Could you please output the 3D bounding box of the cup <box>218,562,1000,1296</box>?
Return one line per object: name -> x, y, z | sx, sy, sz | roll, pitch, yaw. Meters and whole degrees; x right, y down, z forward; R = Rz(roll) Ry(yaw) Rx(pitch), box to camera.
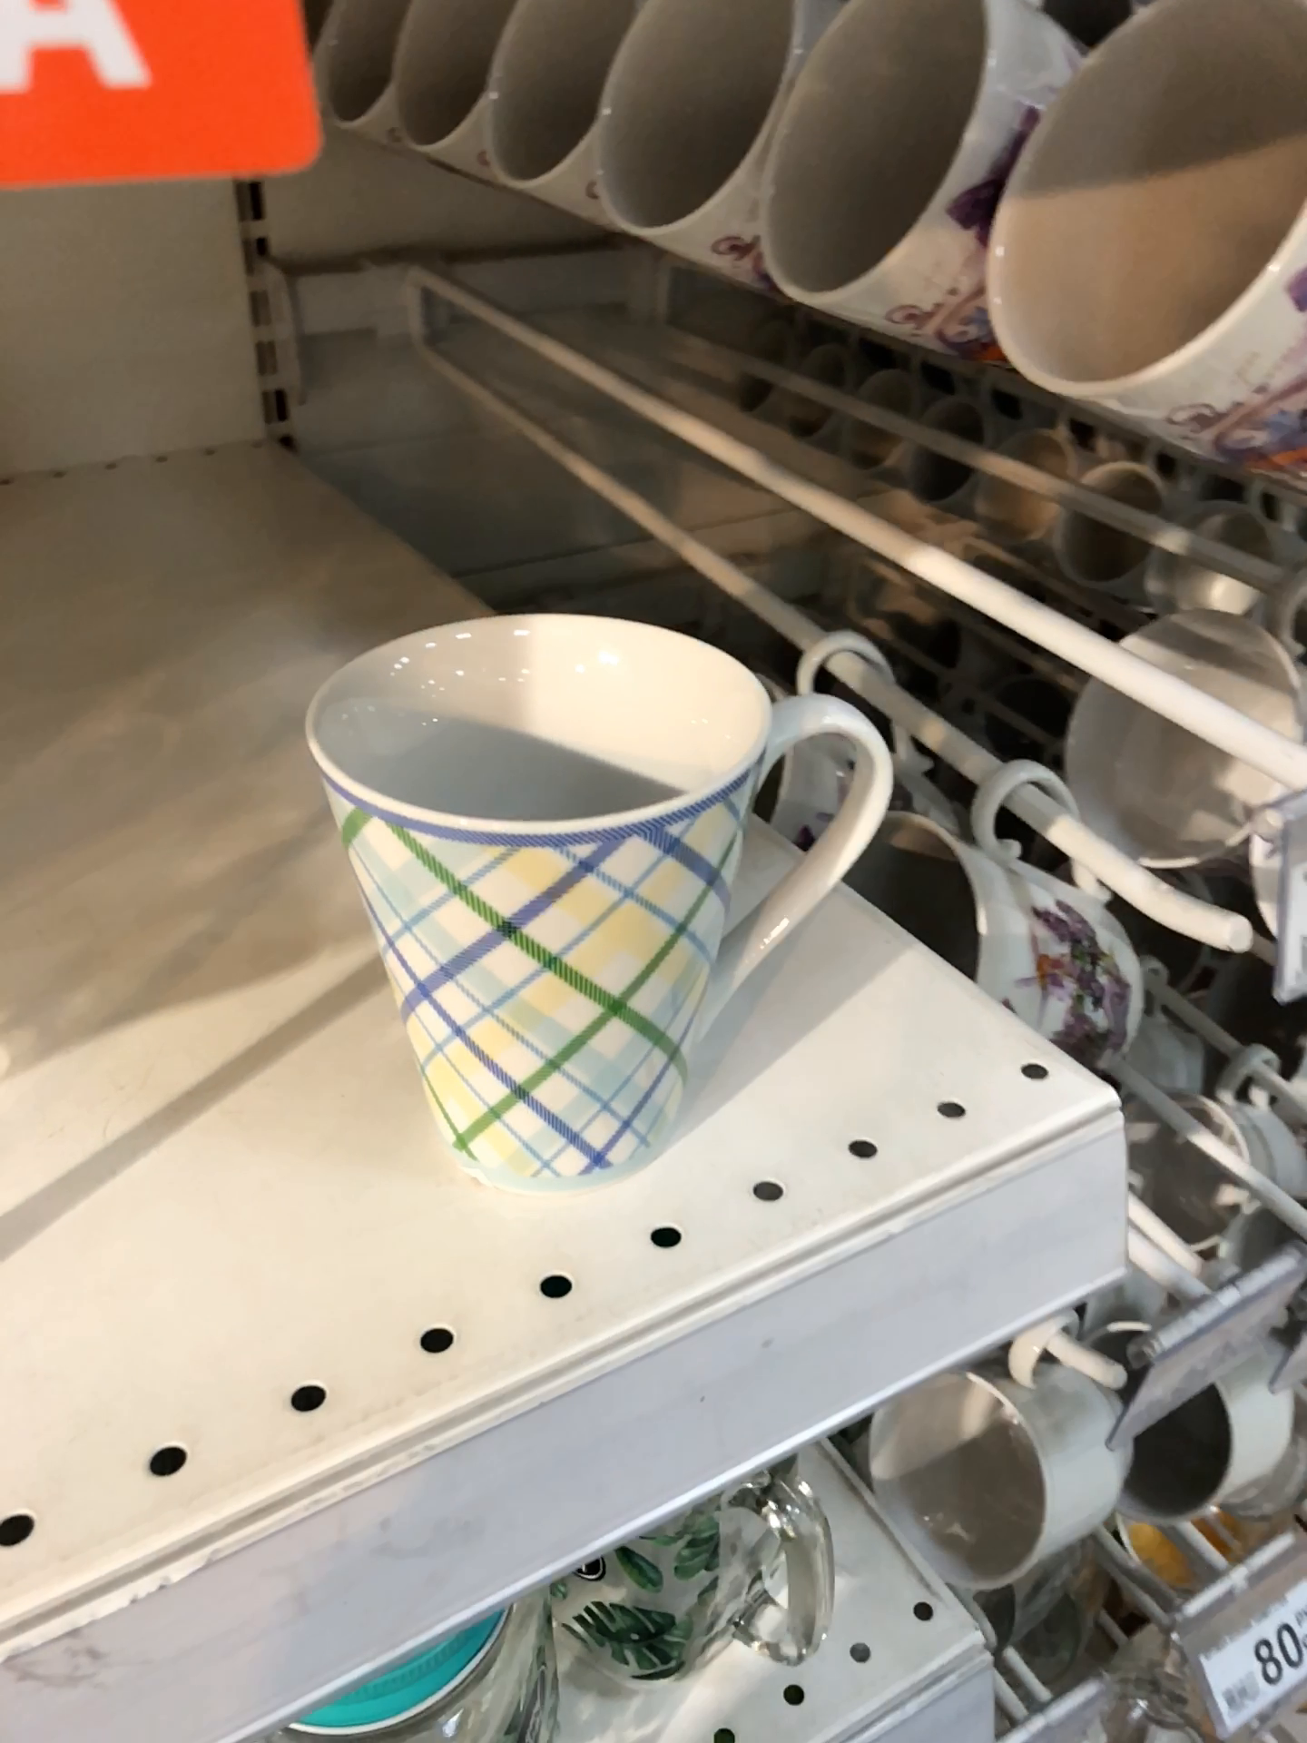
cup -> -0.011, 0.003, 0.287 | 0.116, 0.085, 0.089 | -15, 36, -23
